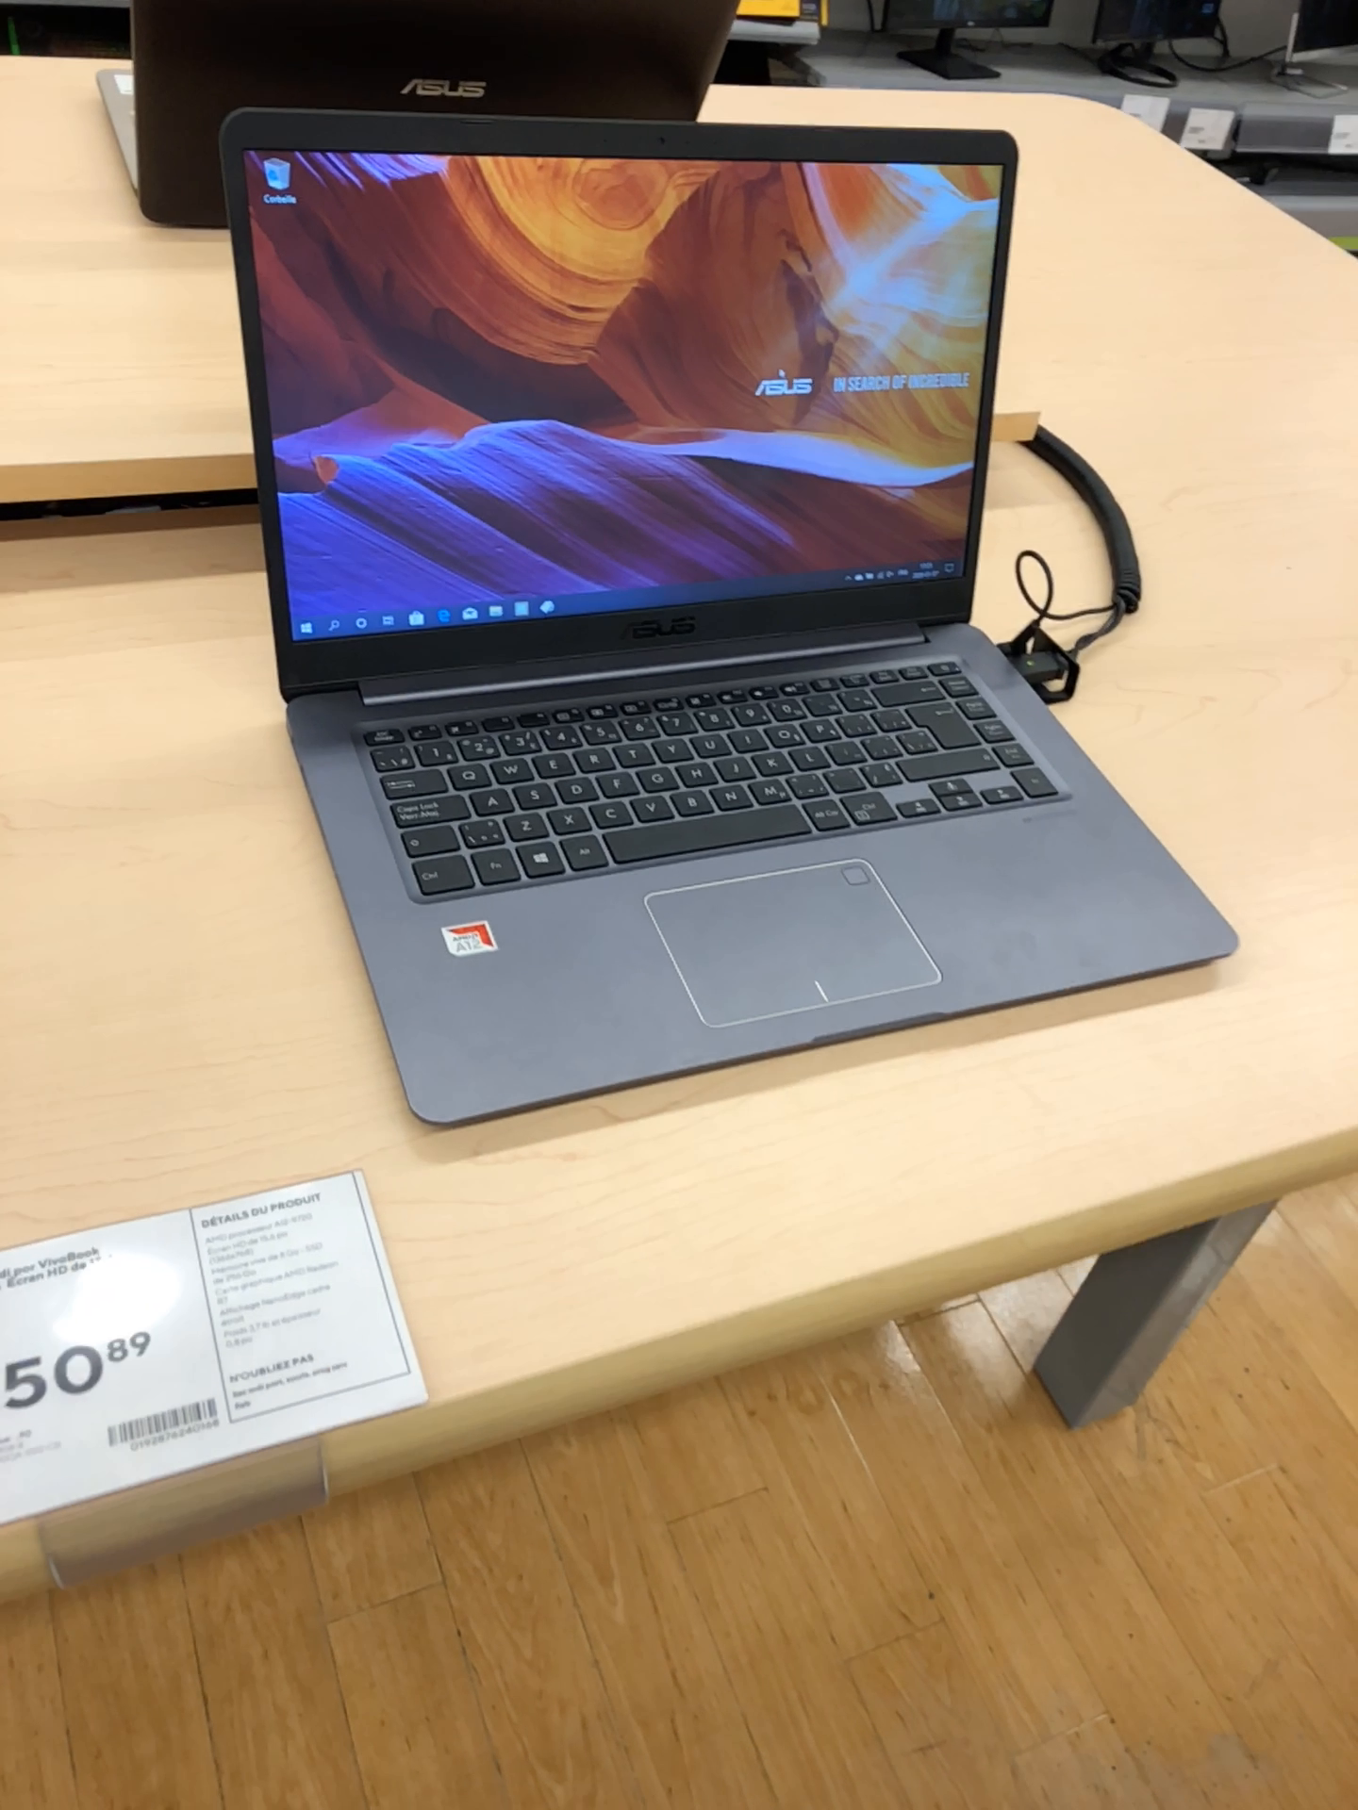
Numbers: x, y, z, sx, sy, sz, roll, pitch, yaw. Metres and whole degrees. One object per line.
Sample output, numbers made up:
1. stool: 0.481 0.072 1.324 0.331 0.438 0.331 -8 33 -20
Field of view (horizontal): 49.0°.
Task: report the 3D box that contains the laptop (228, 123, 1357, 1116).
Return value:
1. laptop: 0.034 -0.142 0.617 0.362 0.223 0.318 -10 48 -21
